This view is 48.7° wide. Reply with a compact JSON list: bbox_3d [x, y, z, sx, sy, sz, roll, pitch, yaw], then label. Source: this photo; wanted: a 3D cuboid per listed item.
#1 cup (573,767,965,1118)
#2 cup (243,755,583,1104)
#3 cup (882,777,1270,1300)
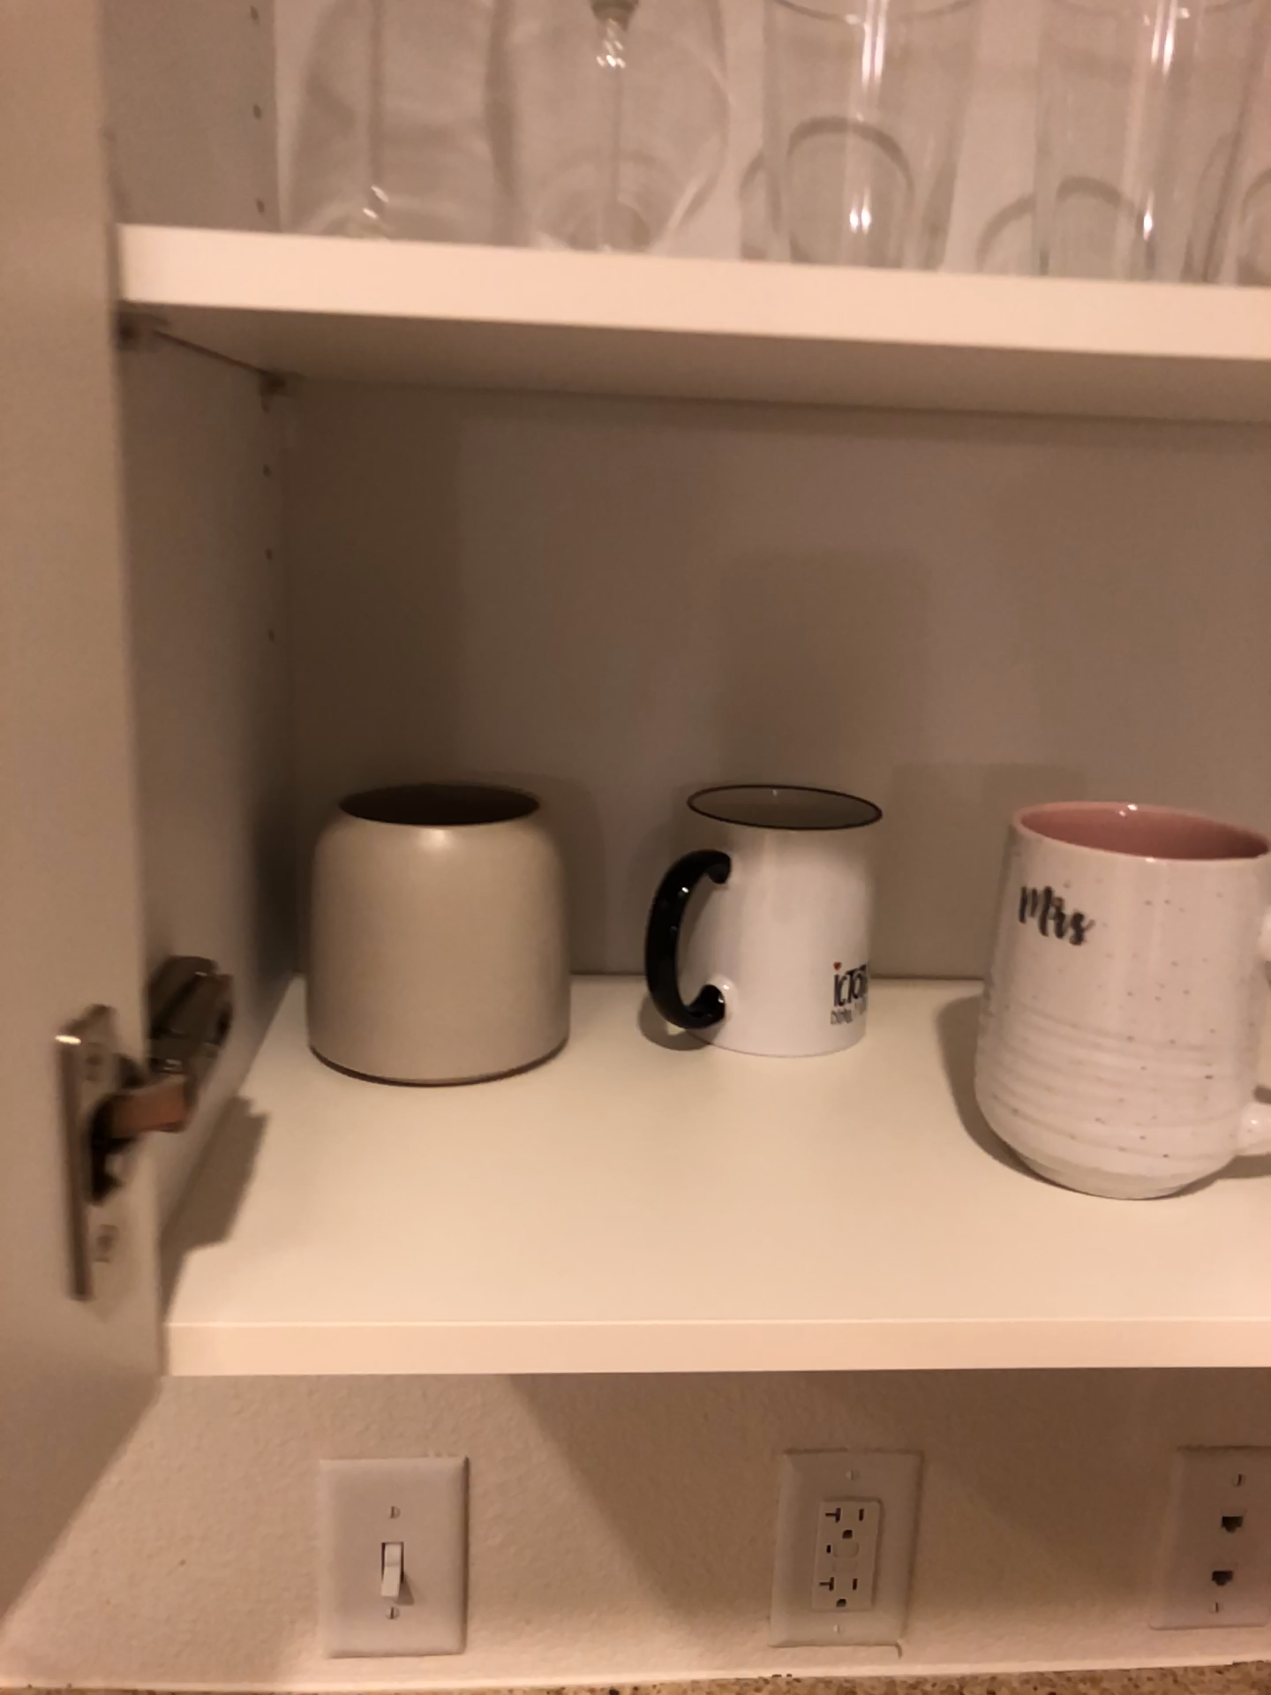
[{"bbox_3d":[0.049,0.028,0.519,0.090,0.090,0.110,15,19,43],"label":"cup"},{"bbox_3d":[-0.087,0.023,0.541,0.110,0.090,0.150,-1,14,-11],"label":"cup"},{"bbox_3d":[0.164,0.048,0.436,0.140,0.110,0.090,10,16,30],"label":"cup"}]
